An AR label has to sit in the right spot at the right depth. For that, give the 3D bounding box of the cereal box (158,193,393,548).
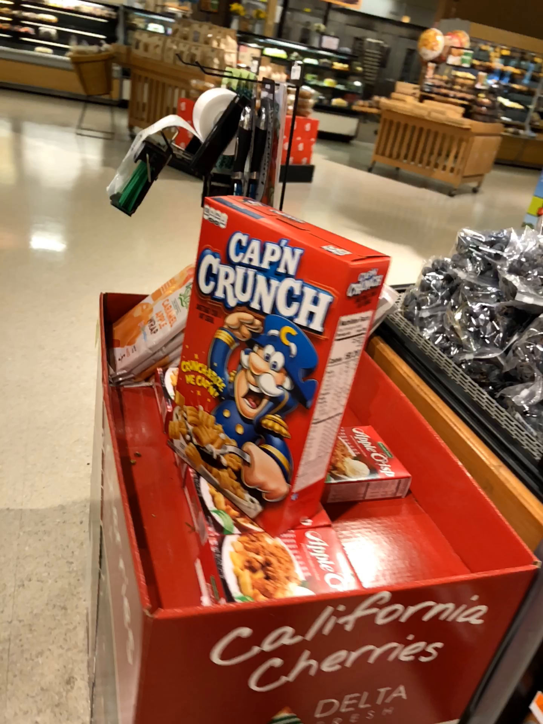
[{"bbox_3d":[-0.017,0.004,0.675,0.070,0.328,0.221,-14,36,-44],"label":"cereal box"}]
